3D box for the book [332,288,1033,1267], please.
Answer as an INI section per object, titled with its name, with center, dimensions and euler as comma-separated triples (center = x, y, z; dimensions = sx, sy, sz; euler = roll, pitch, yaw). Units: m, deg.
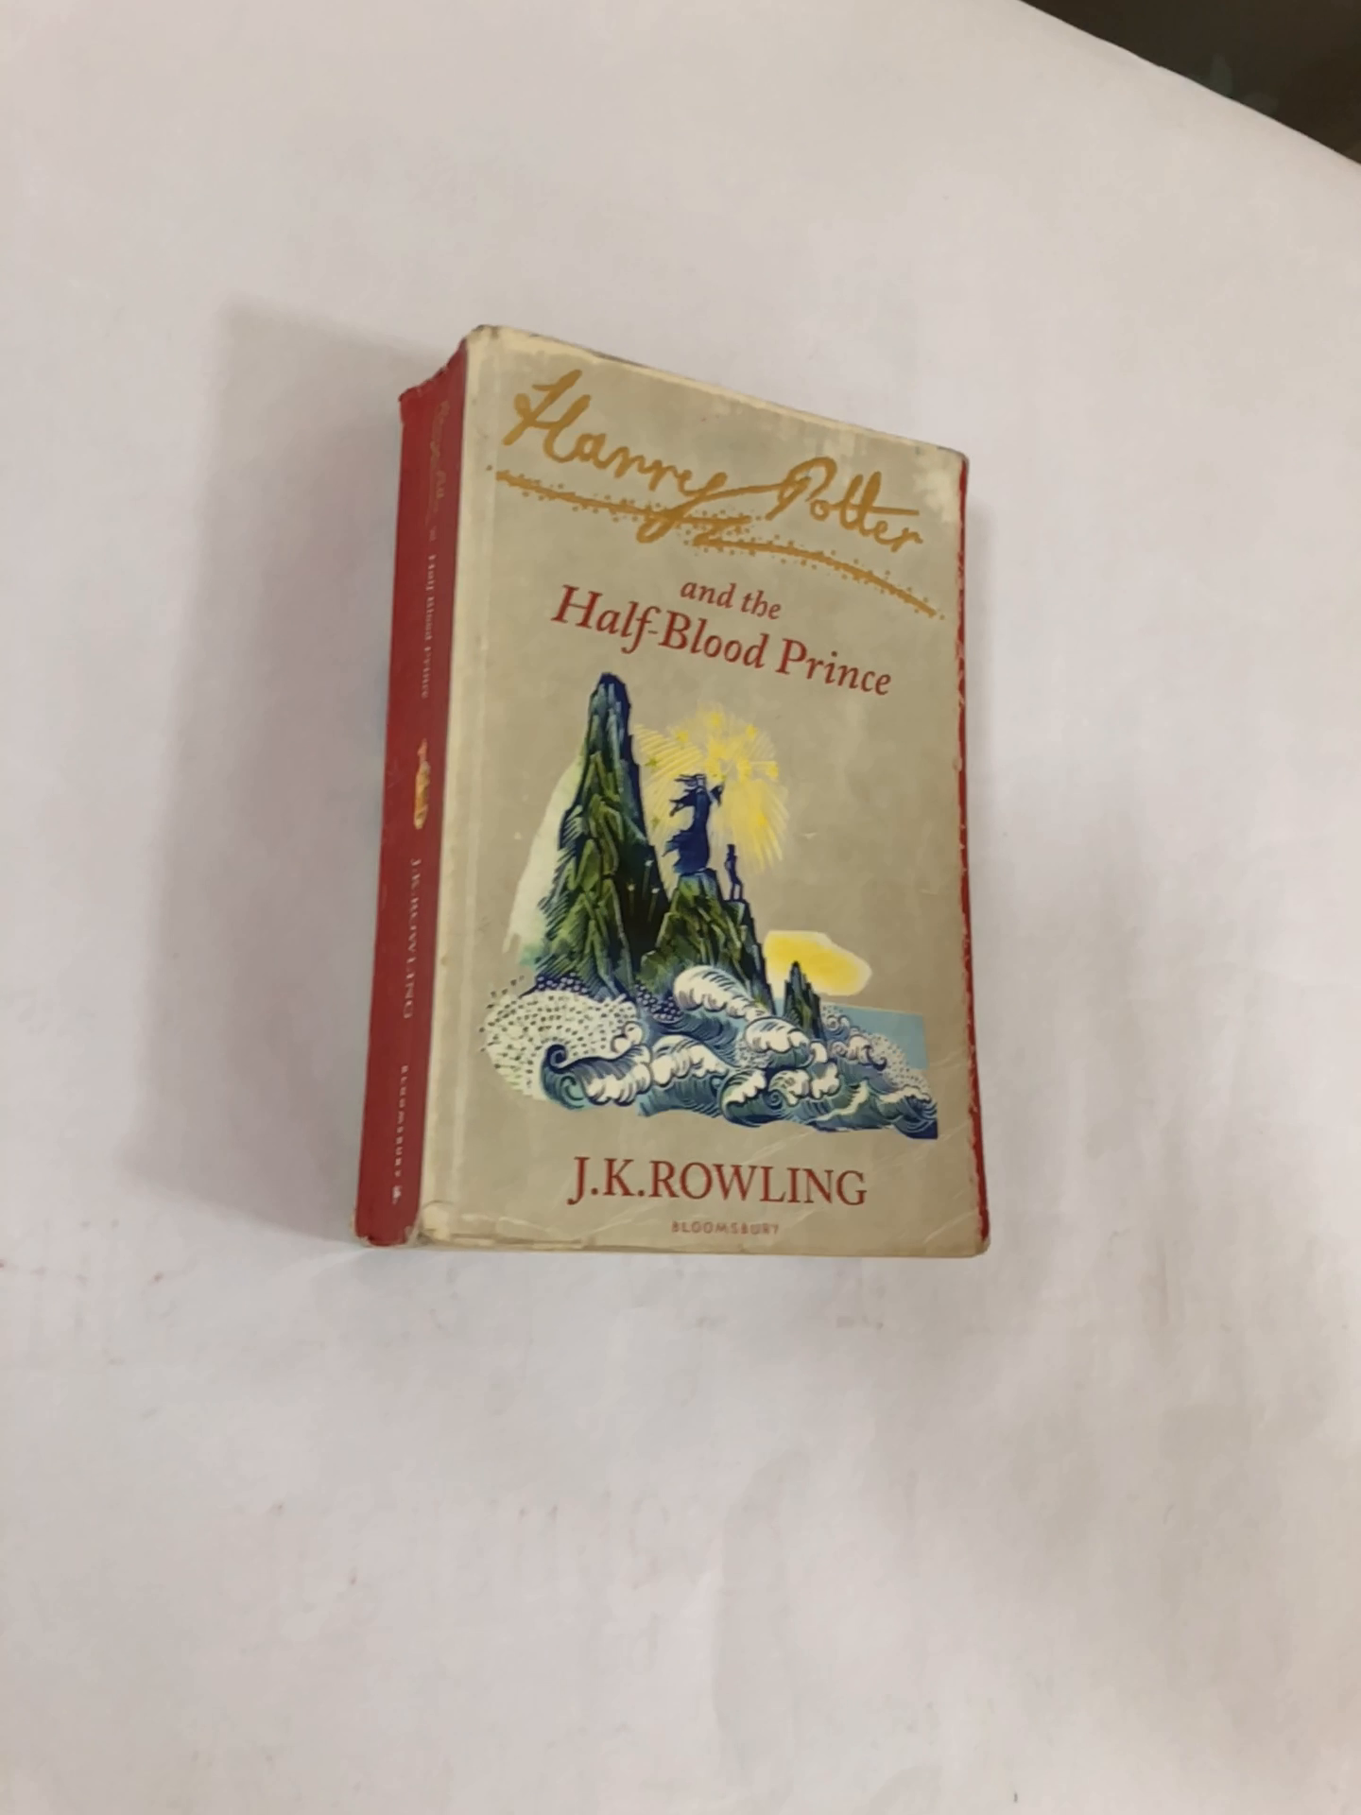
[book]
center = 0.002, -0.018, 0.319
dimensions = 0.129, 0.050, 0.181
euler = 7, 75, -26
